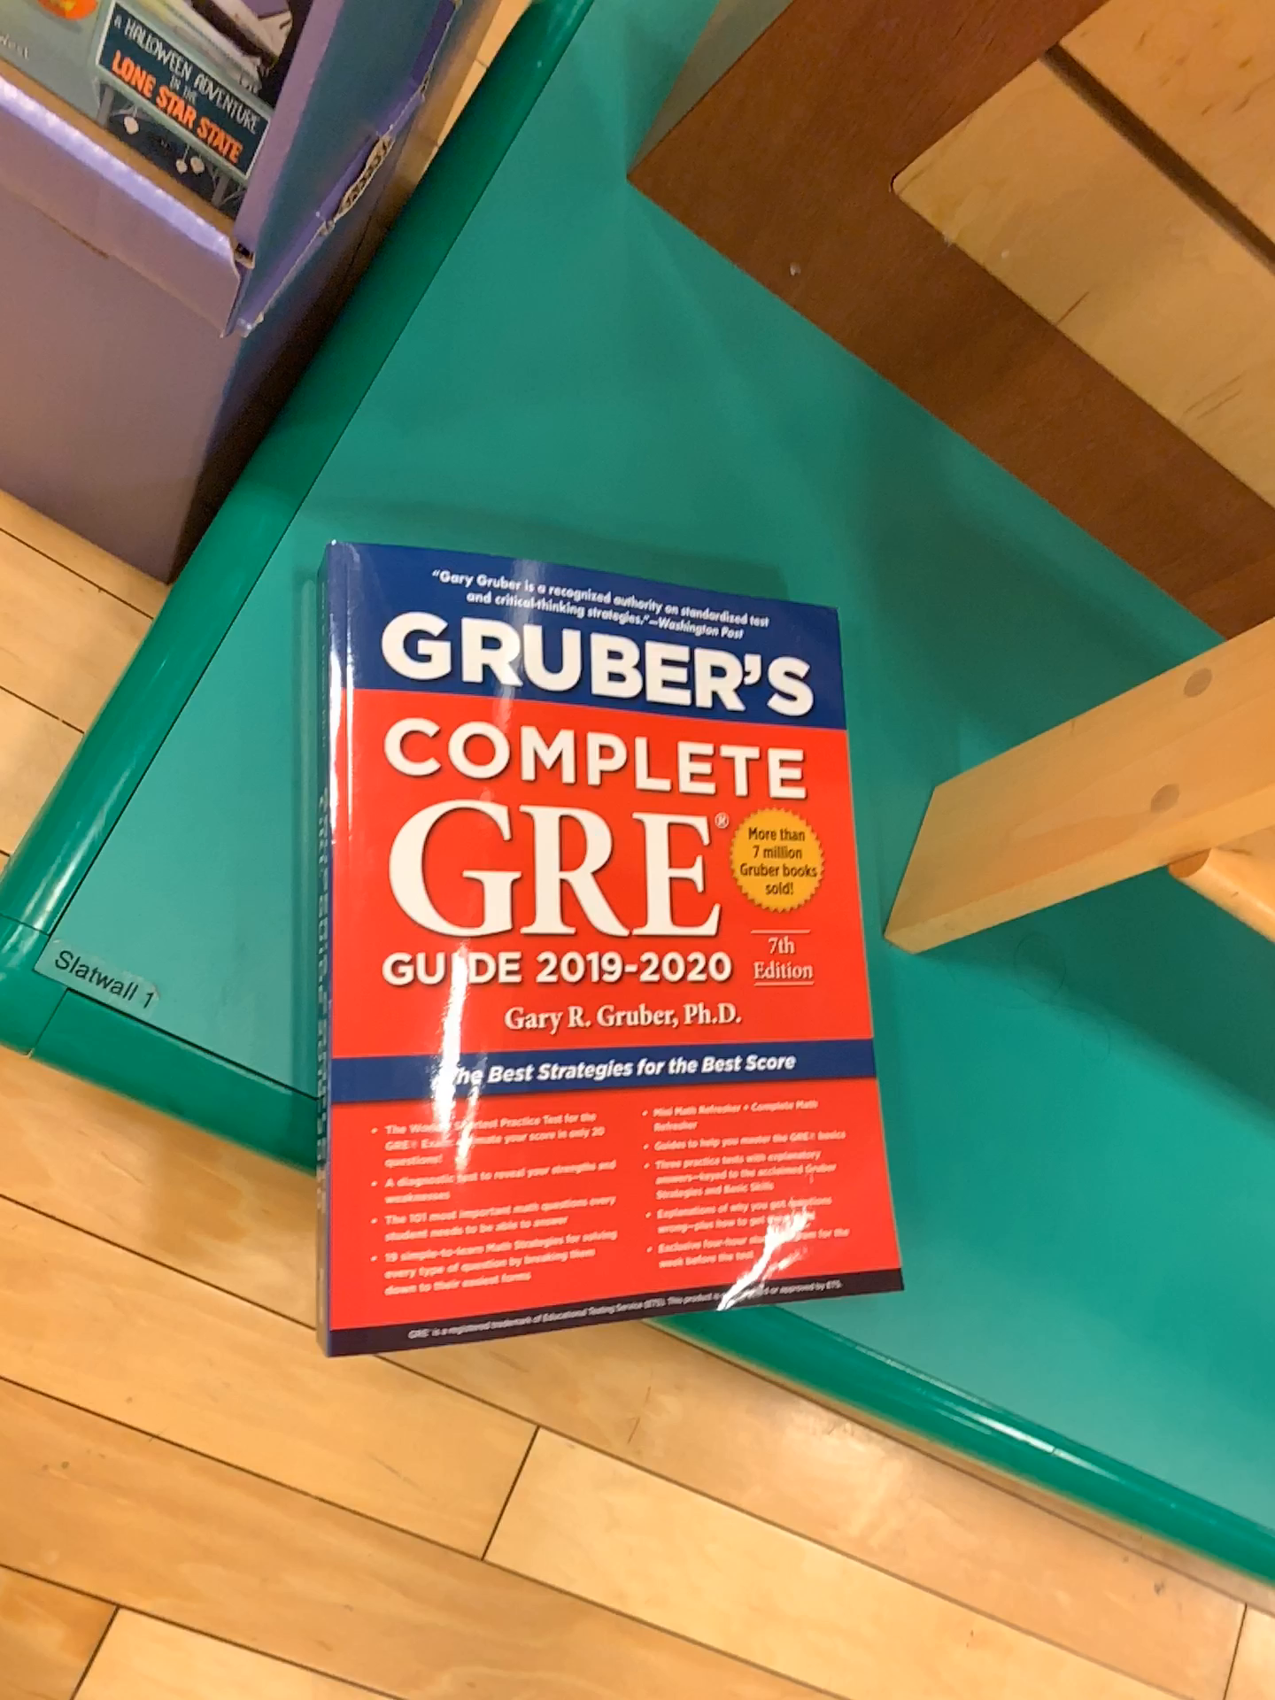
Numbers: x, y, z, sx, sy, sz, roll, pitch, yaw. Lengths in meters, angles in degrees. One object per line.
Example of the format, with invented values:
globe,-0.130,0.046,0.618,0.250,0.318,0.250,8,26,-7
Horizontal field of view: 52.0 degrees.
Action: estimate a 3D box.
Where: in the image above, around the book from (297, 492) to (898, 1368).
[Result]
book,-0.012,0.026,0.496,0.221,0.040,0.290,2,80,-25
